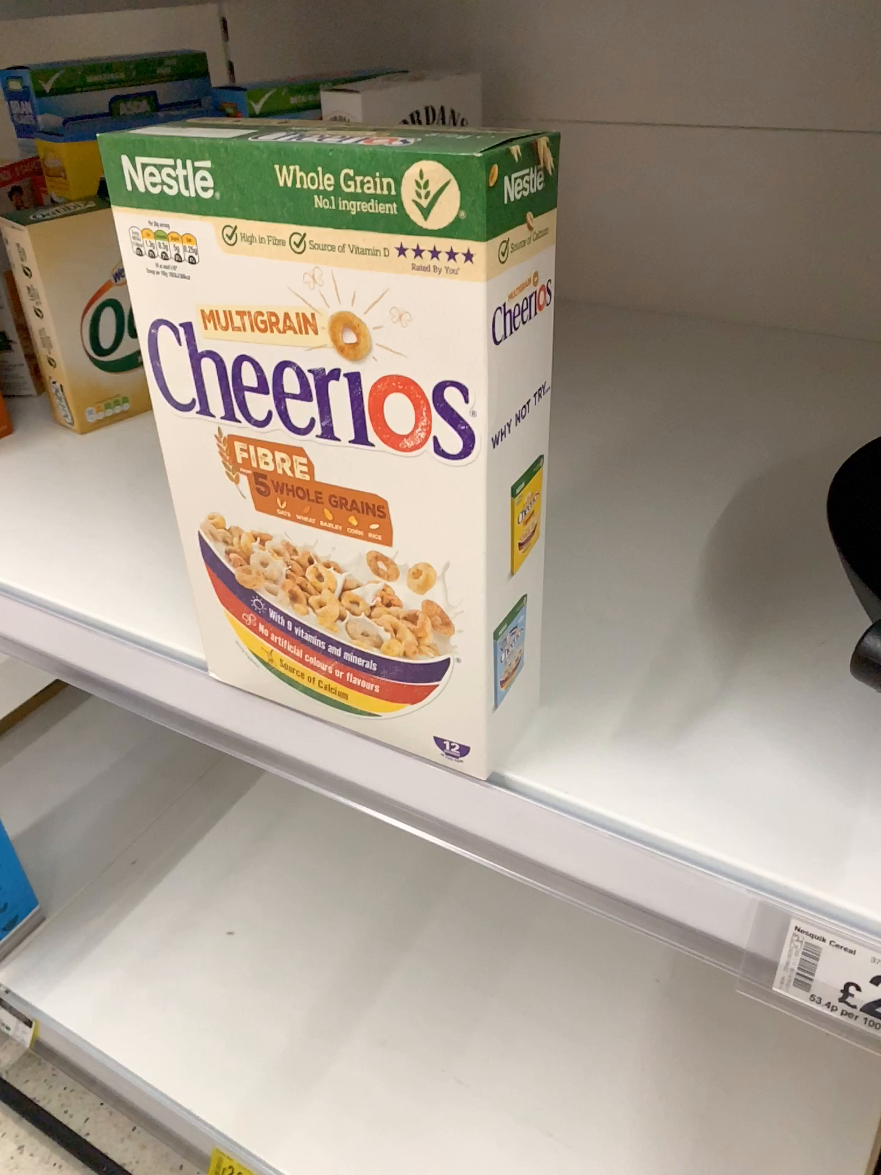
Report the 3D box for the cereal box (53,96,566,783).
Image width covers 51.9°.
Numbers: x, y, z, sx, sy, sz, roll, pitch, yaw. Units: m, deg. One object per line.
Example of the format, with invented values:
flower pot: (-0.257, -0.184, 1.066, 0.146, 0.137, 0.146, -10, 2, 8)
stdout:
cereal box: (-0.054, -0.069, 0.434, 0.200, 0.287, 0.071, 15, 35, 25)
